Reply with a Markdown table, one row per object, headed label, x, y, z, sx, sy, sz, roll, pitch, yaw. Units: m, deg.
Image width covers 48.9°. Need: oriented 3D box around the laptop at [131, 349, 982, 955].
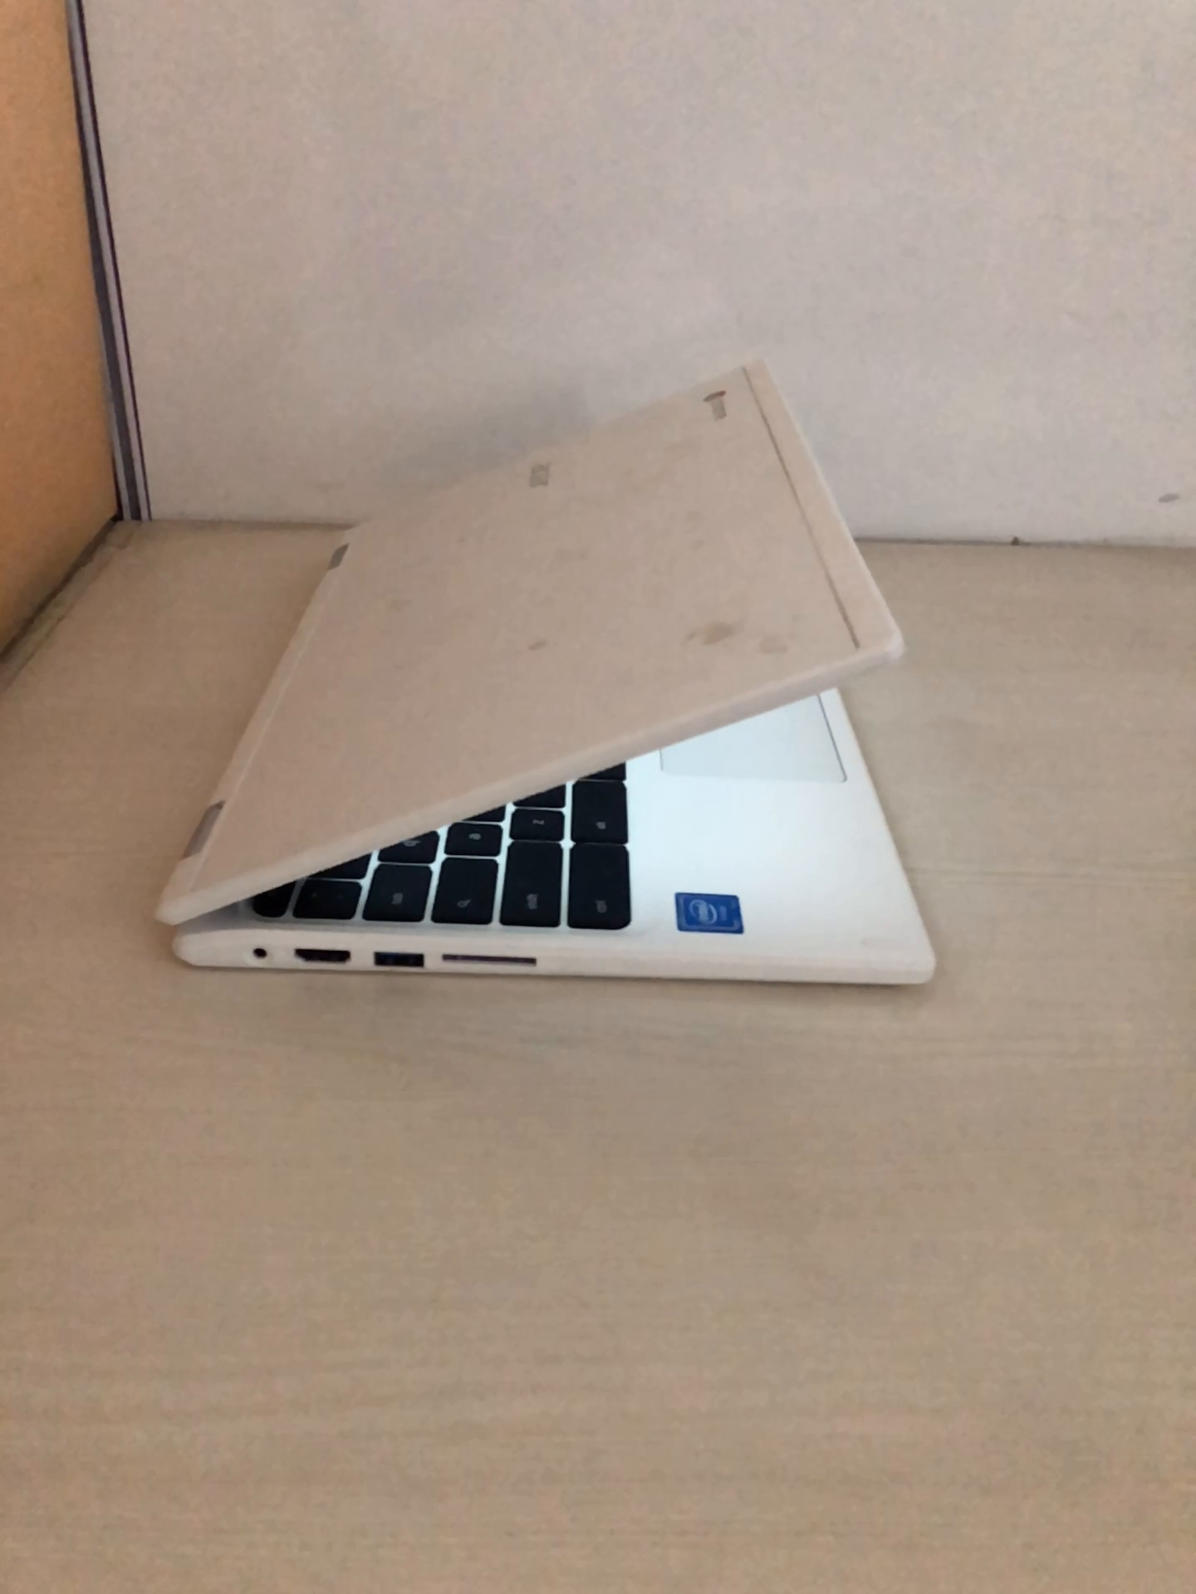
| label | x | y | z | sx | sy | sz | roll | pitch | yaw |
| --- | --- | --- | --- | --- | --- | --- | --- | --- | --- |
| laptop | -0.011 | -0.073 | 0.454 | 0.200 | 0.092 | 0.285 | 1 | 31 | 0 |
